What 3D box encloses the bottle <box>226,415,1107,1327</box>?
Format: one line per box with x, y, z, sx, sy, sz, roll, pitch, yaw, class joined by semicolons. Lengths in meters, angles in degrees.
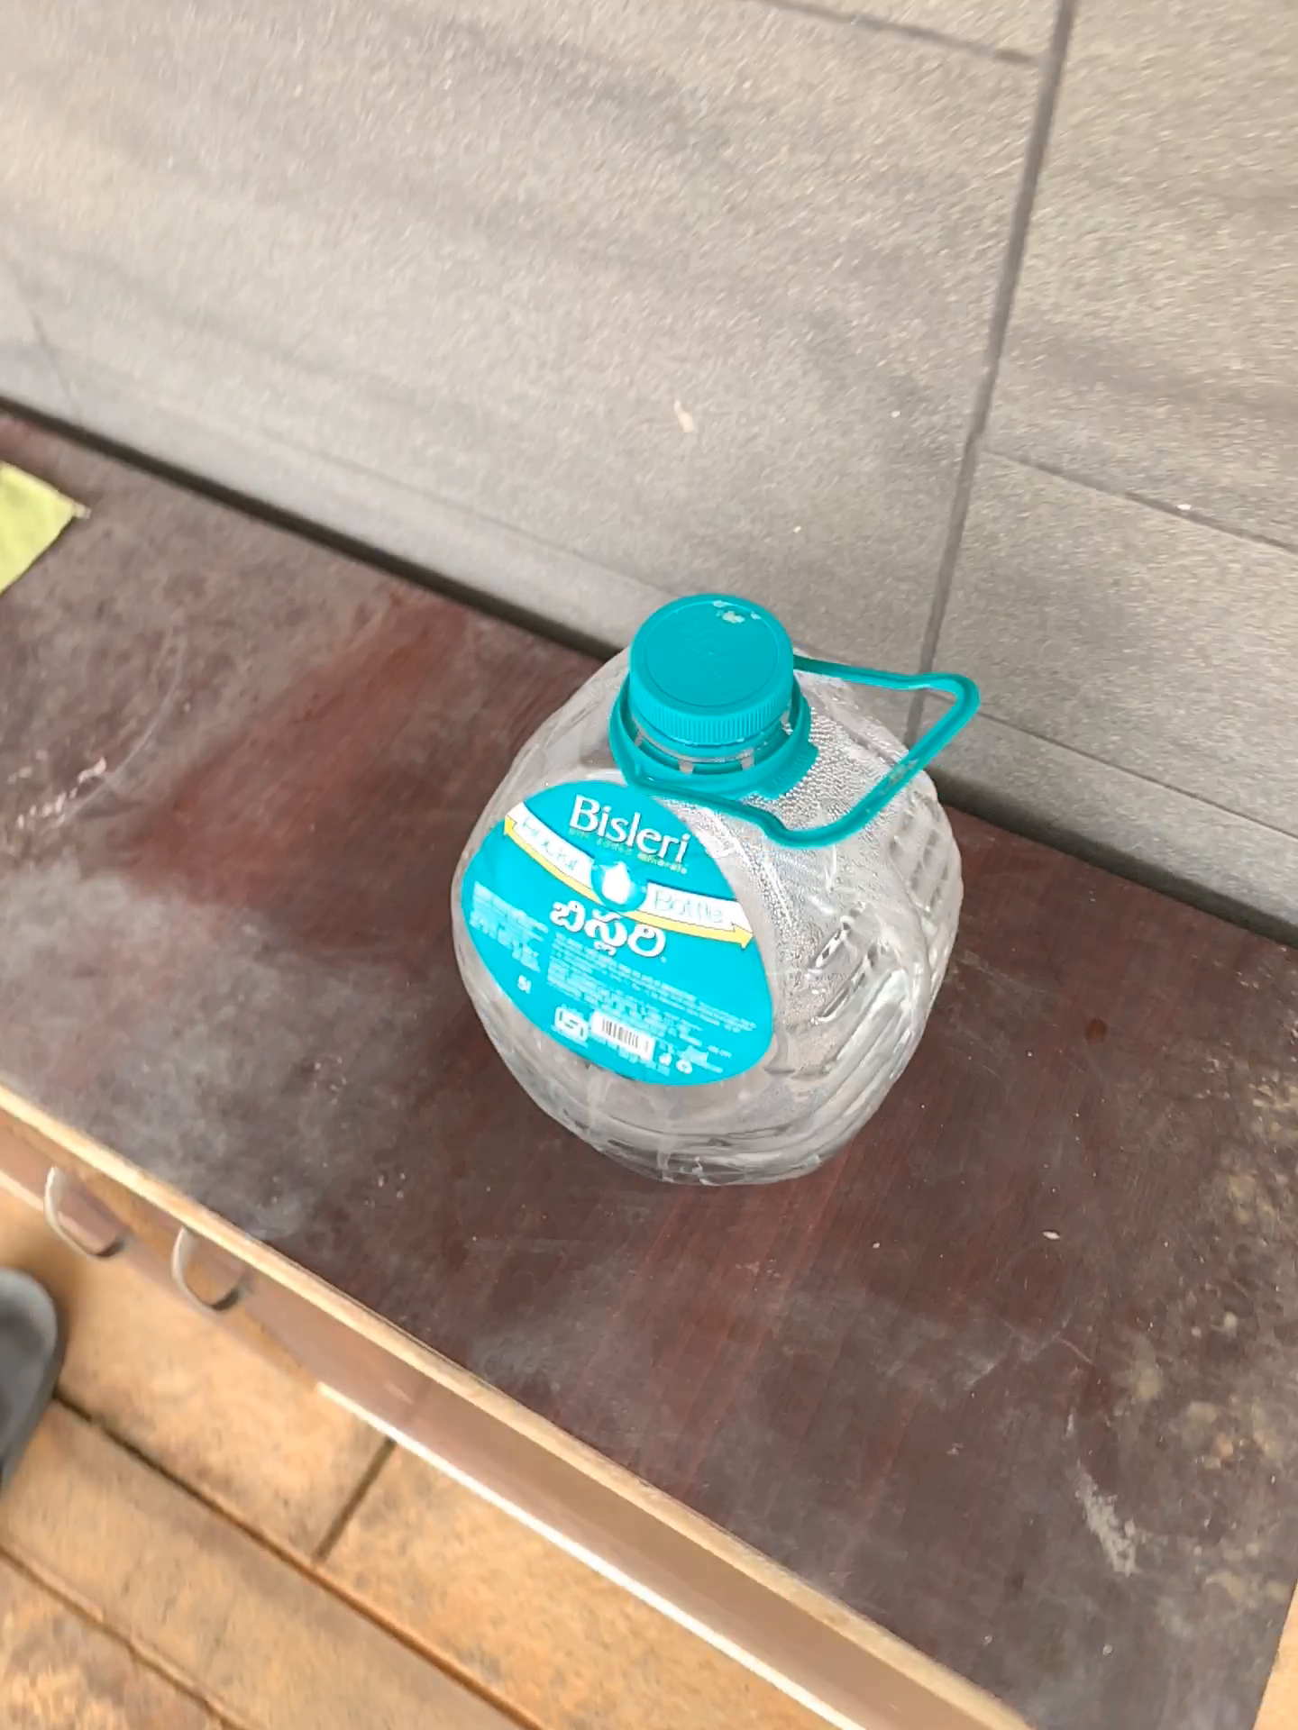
0.012;0.008;0.490;0.200;0.220;0.180;25;60;18;bottle

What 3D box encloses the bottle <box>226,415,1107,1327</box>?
0.012;0.008;0.490;0.200;0.220;0.180;25;60;18;bottle
